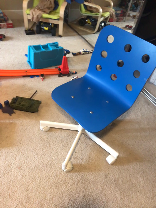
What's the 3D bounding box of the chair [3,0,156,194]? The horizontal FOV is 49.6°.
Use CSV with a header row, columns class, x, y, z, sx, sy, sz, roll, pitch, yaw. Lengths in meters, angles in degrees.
class,x,y,z,sx,sy,sz,roll,pitch,yaw
chair,0.017,-0.024,0.811,0.520,0.705,0.362,35,49,23
